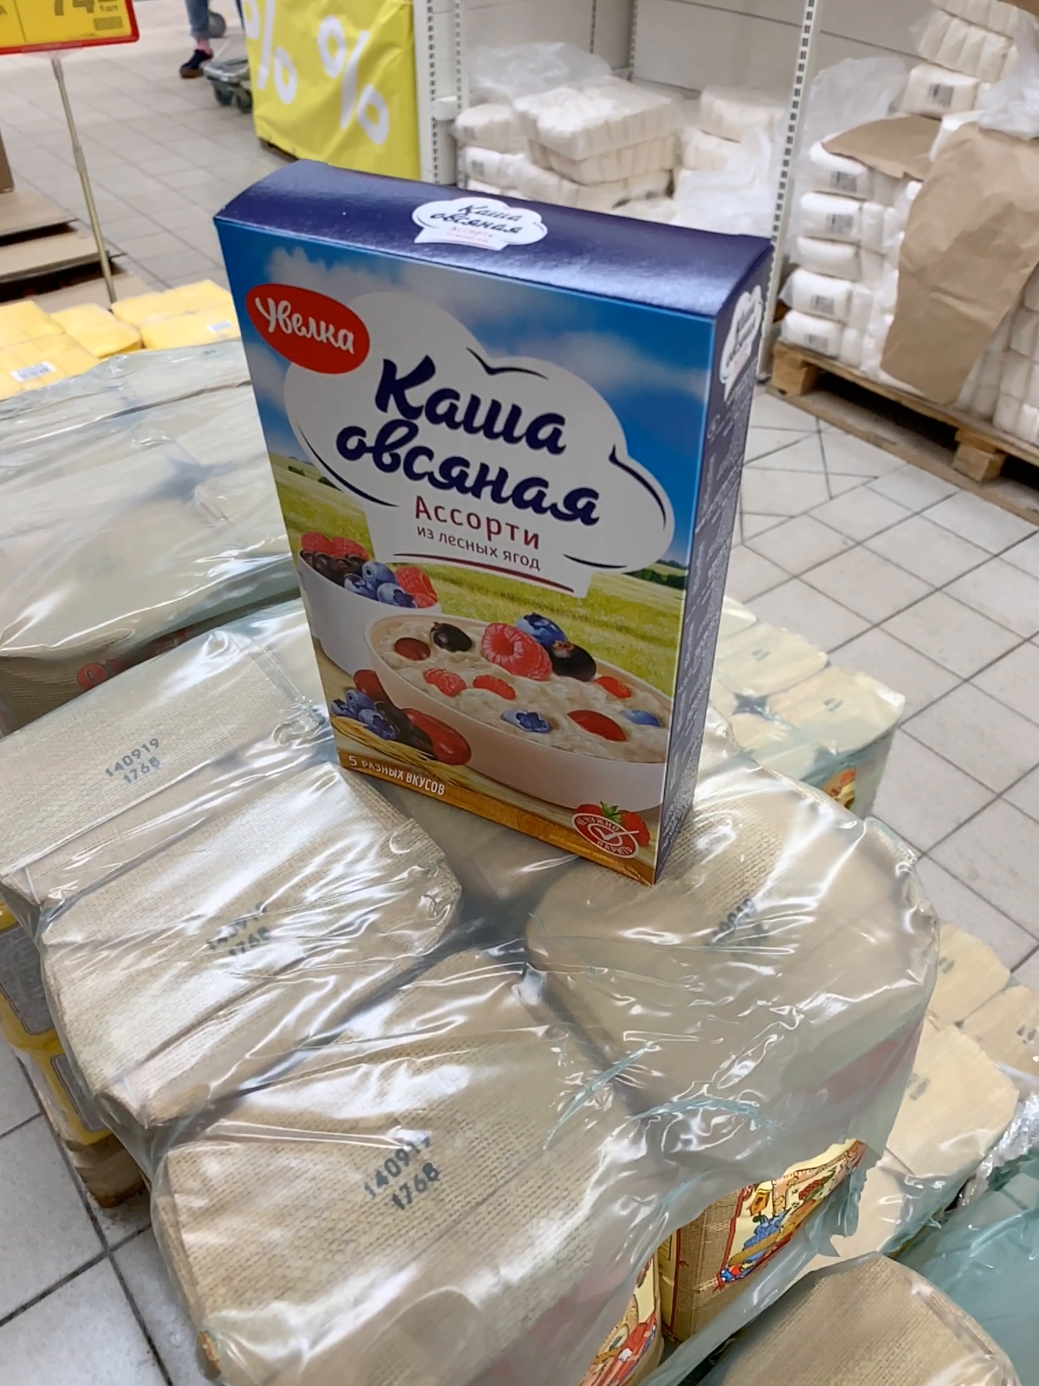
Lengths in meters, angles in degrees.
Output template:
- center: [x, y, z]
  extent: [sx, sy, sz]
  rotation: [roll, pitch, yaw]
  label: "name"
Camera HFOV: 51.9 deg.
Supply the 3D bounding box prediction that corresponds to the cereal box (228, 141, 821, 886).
- center: [0.001, -0.042, 0.319]
  extent: [0.130, 0.198, 0.050]
  rotation: [18, 47, 18]
  label: "cereal box"
